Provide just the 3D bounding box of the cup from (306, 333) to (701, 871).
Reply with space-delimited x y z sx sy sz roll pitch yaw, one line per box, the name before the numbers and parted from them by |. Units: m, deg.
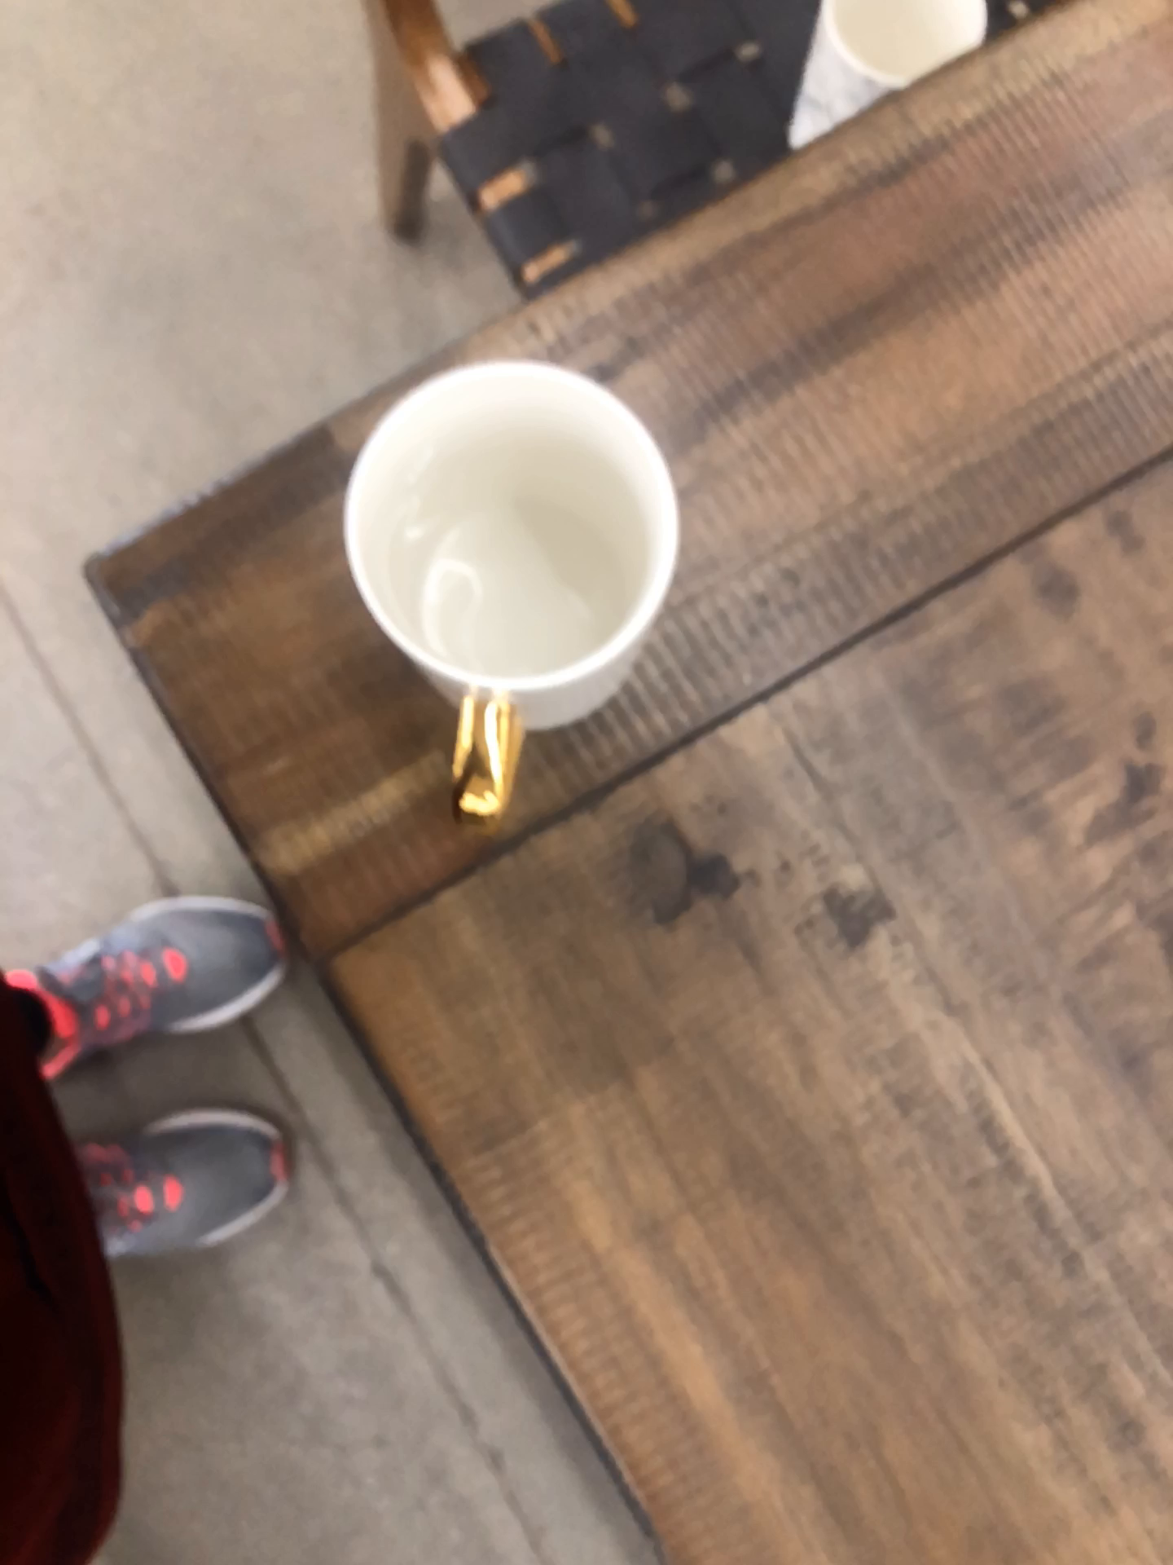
cup | -0.020 -0.041 0.369 0.082 0.111 0.121 5 87 0
